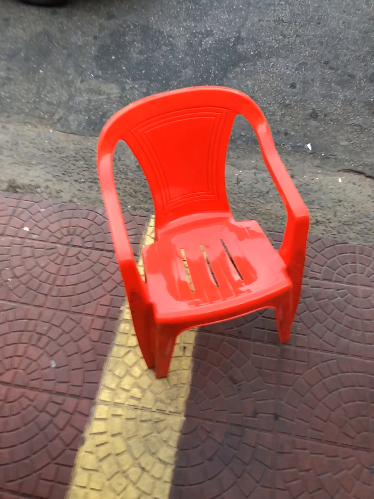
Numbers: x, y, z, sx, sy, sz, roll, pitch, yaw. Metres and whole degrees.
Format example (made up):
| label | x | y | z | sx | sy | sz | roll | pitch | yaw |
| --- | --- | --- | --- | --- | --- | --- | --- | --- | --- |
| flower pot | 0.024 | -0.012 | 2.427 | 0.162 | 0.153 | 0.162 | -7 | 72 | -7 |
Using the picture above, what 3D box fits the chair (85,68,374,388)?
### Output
| label | x | y | z | sx | sy | sz | roll | pitch | yaw |
| --- | --- | --- | --- | --- | --- | --- | --- | --- | --- |
| chair | 0.075 | -0.012 | 1.297 | 0.570 | 0.796 | 0.543 | -13 | 58 | -10 |
